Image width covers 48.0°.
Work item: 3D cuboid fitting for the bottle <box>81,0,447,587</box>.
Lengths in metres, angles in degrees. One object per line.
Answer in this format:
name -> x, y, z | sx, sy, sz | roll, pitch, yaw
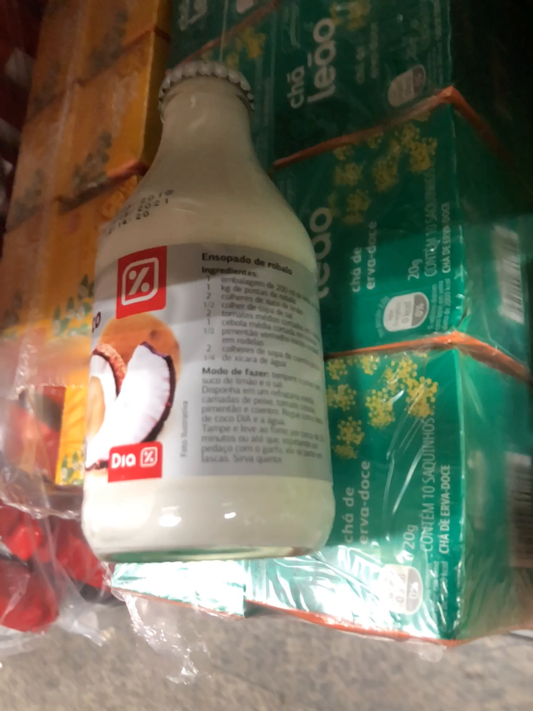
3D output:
bottle -> -0.002, -0.026, 0.163 | 0.070, 0.050, 0.160 | -14, 68, 39
